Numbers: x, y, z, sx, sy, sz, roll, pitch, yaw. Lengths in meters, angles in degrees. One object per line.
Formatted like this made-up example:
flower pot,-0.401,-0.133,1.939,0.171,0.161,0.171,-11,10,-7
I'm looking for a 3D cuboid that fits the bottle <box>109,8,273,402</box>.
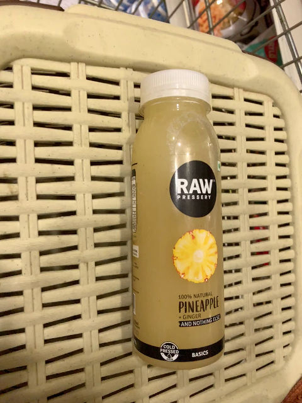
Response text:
bottle,0.017,0.000,0.164,0.060,0.050,0.160,0,86,-28
